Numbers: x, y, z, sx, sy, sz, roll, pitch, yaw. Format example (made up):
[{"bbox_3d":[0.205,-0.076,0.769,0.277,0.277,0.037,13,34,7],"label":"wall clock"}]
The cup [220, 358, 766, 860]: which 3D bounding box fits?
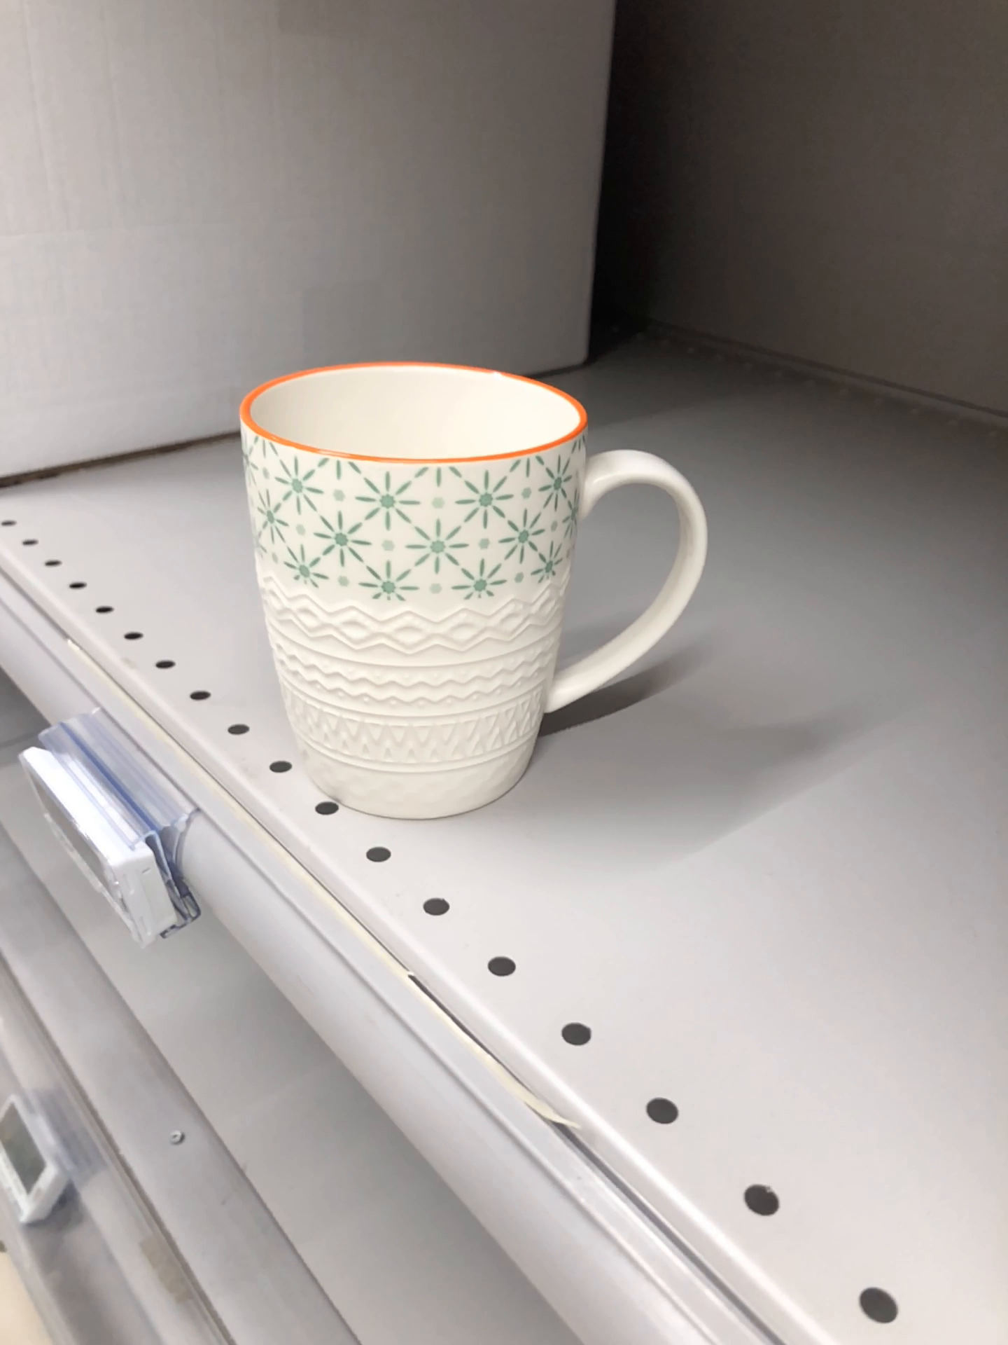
[{"bbox_3d":[-0.008,-0.024,0.300,0.117,0.100,0.093,-4,25,-9],"label":"cup"}]
